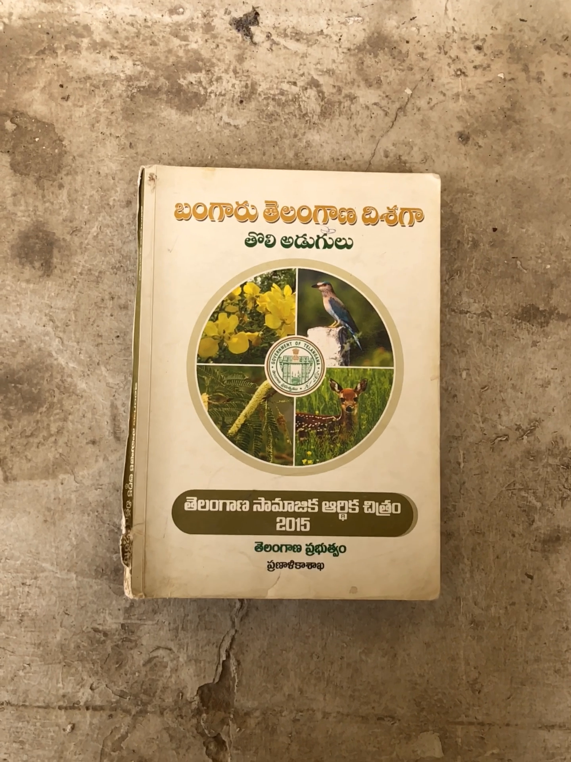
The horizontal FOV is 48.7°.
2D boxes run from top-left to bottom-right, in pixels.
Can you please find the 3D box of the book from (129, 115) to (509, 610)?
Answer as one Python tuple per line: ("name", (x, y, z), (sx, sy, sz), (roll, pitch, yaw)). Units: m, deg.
("book", (0.023, -0.012, 0.405), (0.220, 0.060, 0.290), (1, 86, -1))
